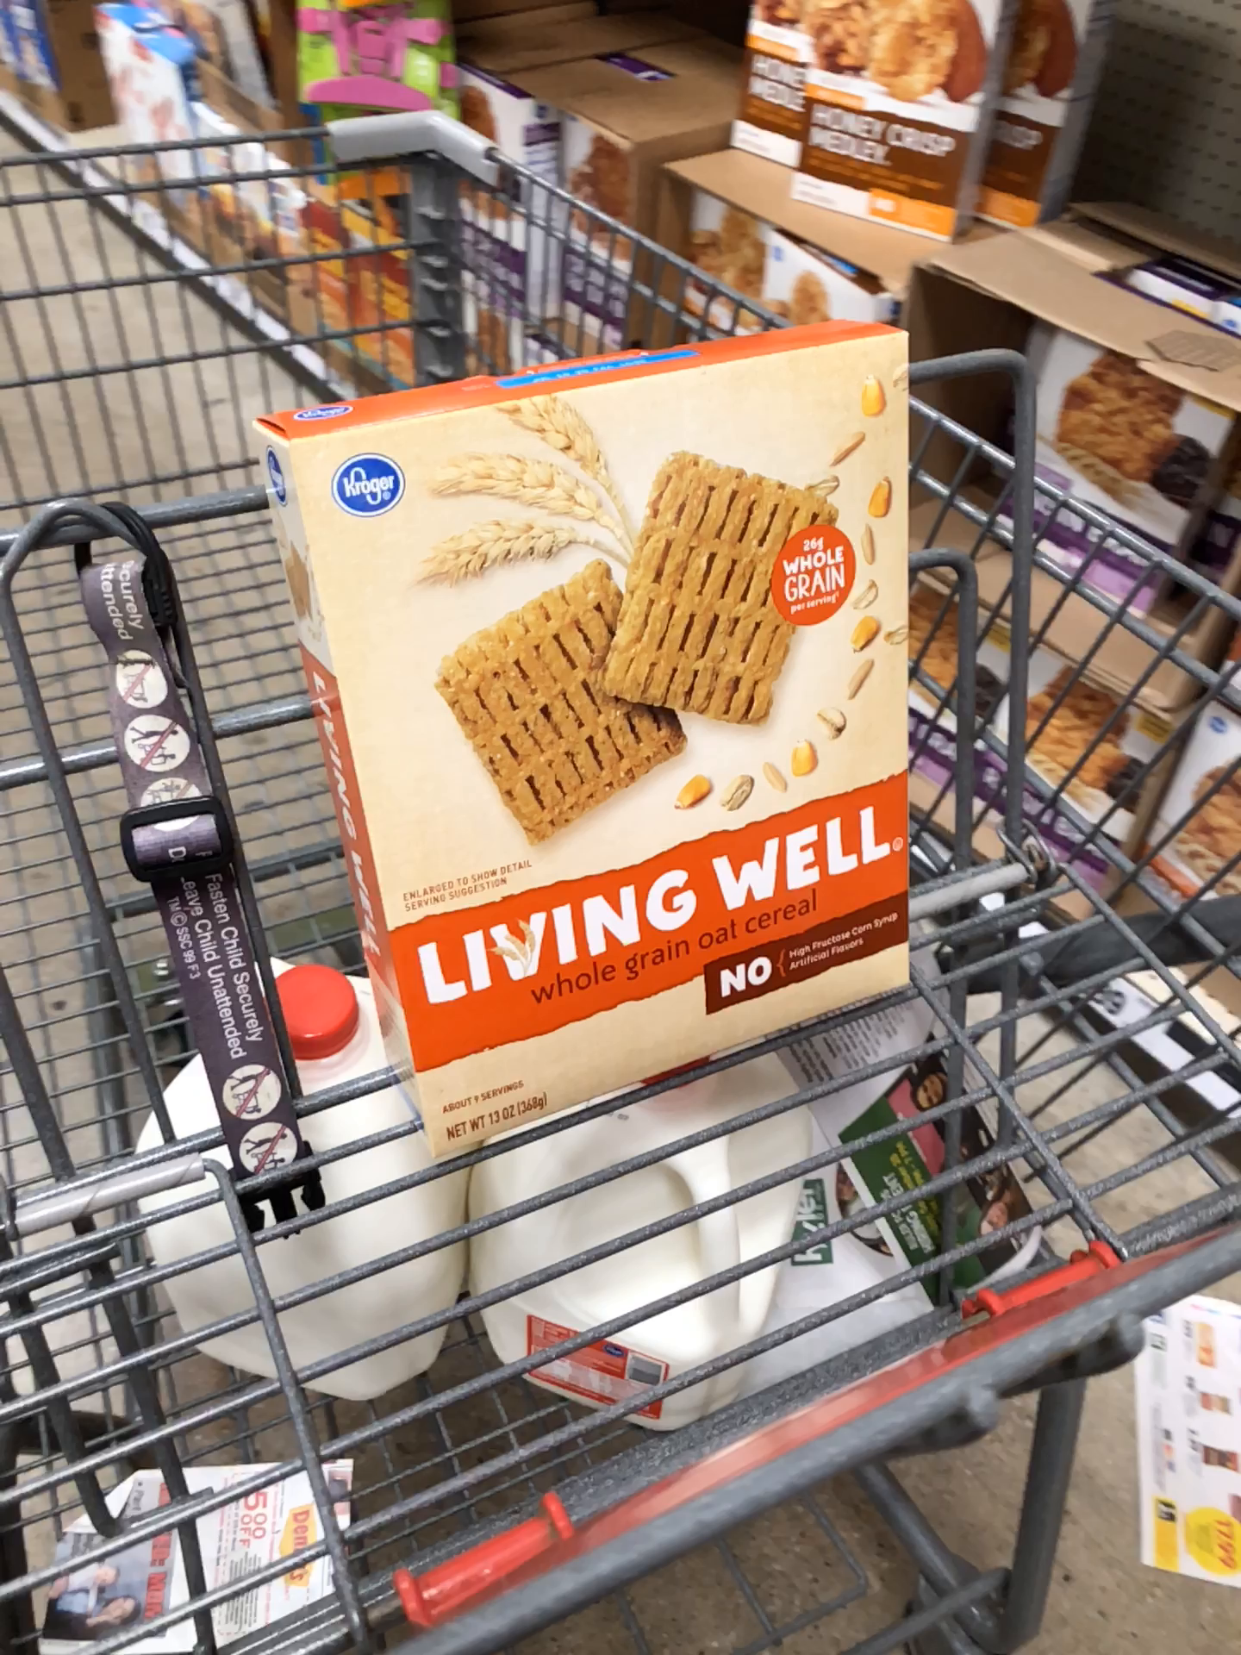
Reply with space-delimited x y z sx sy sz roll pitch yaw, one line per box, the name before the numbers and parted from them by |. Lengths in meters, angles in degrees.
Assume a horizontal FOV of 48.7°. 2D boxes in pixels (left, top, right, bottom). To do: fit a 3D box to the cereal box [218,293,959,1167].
cereal box | 0.004 -0.034 0.454 0.210 0.240 0.060 -16 30 -19
